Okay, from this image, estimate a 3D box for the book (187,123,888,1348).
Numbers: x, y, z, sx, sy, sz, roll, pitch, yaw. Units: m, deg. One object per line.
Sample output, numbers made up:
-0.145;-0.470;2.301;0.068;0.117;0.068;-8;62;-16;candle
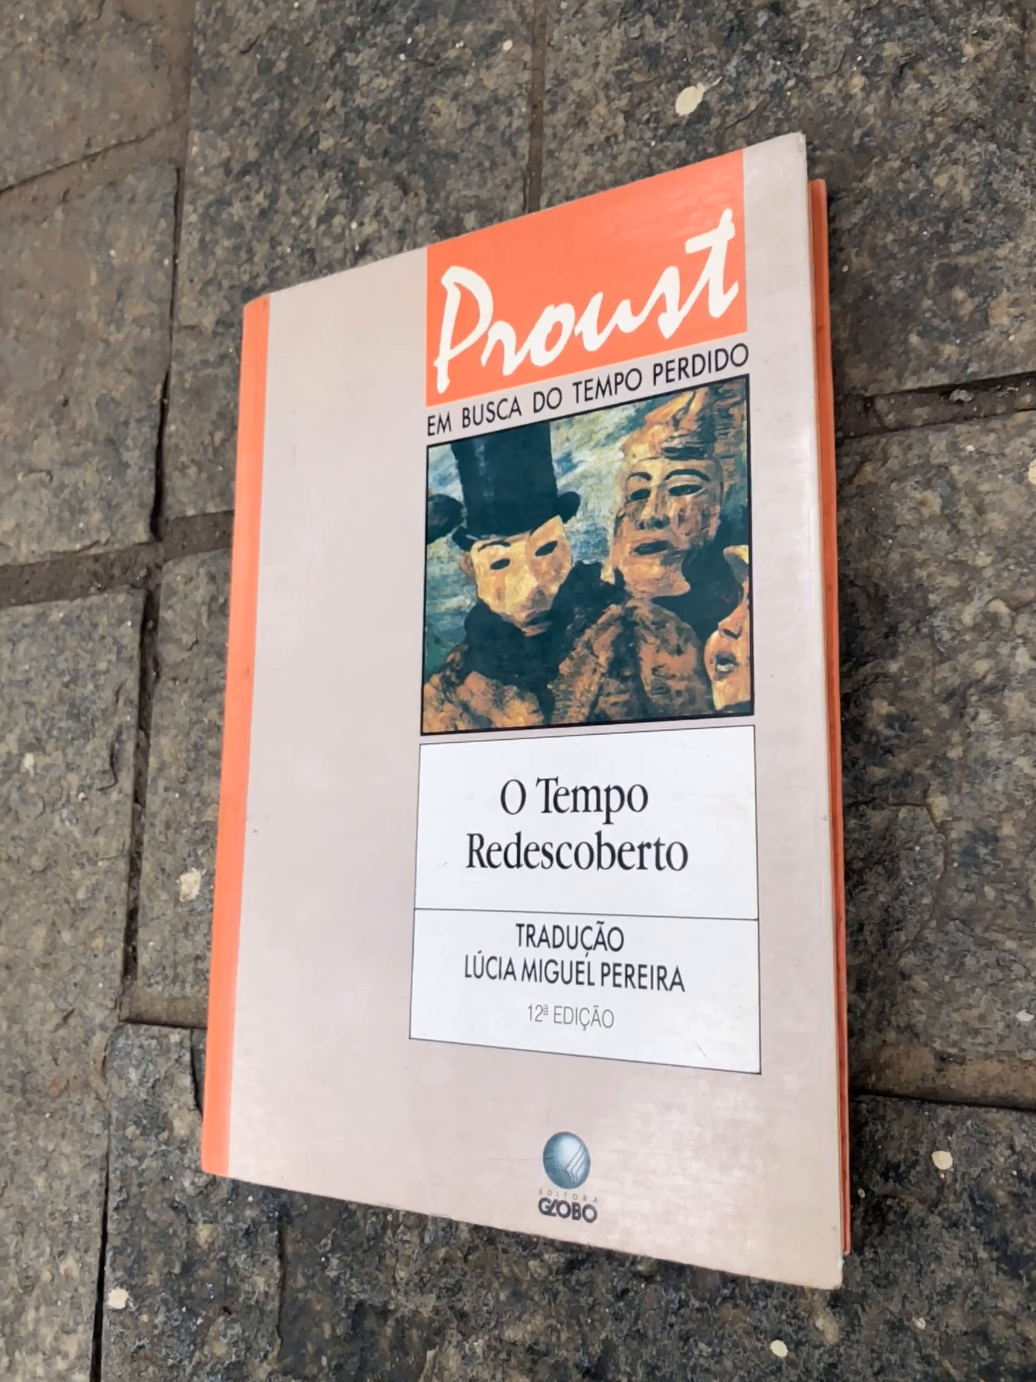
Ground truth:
-0.002;0.005;0.229;0.134;0.023;0.199;-5;79;29;book
